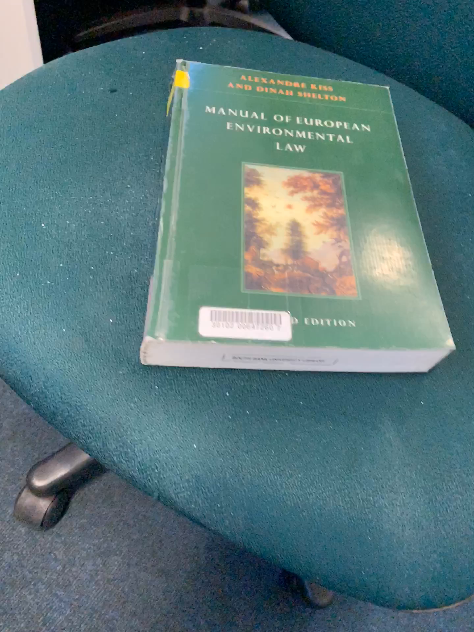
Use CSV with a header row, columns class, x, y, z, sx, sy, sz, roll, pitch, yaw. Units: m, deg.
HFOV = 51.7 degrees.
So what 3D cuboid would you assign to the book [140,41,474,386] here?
class,x,y,z,sx,sy,sz,roll,pitch,yaw
book,0.037,-0.082,0.335,0.180,0.040,0.252,4,60,-8
